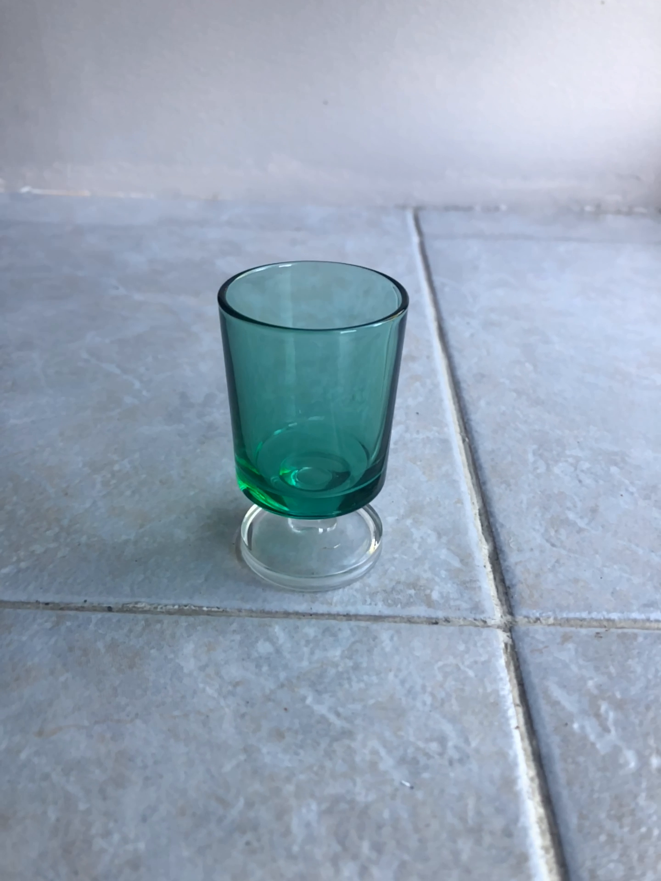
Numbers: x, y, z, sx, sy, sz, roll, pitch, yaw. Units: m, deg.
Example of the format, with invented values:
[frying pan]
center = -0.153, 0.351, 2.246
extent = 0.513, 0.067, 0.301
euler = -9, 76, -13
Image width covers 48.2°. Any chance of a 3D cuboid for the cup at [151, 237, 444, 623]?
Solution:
[cup]
center = -0.007, -0.005, 0.173
extent = 0.044, 0.068, 0.045
euler = -1, 32, 0
